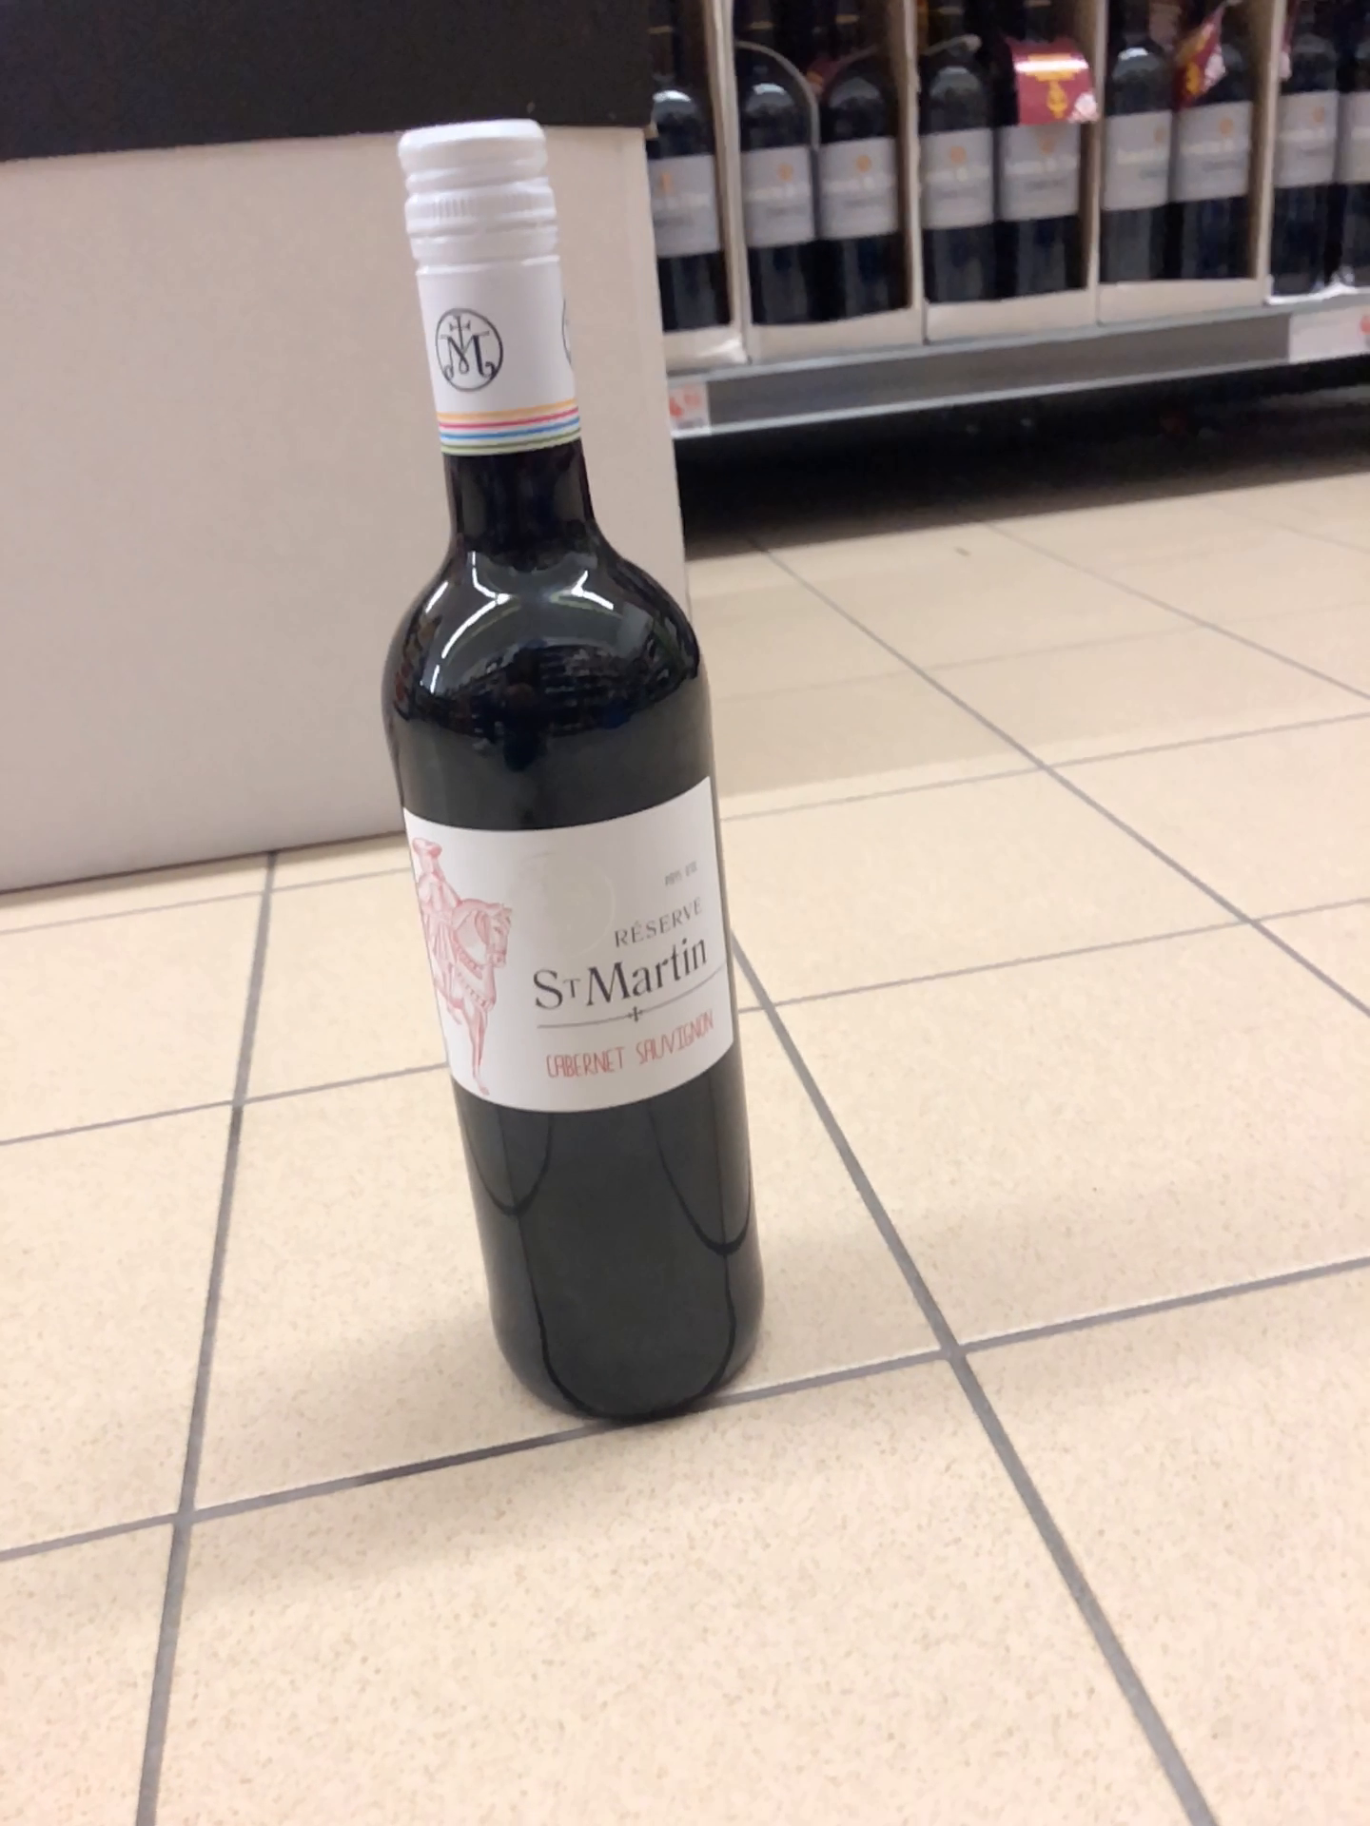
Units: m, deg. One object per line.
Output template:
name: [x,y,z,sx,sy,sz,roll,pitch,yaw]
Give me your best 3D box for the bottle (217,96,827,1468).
bottle: [-0.030,-0.020,0.352,0.090,0.289,0.080,-10,24,-10]
